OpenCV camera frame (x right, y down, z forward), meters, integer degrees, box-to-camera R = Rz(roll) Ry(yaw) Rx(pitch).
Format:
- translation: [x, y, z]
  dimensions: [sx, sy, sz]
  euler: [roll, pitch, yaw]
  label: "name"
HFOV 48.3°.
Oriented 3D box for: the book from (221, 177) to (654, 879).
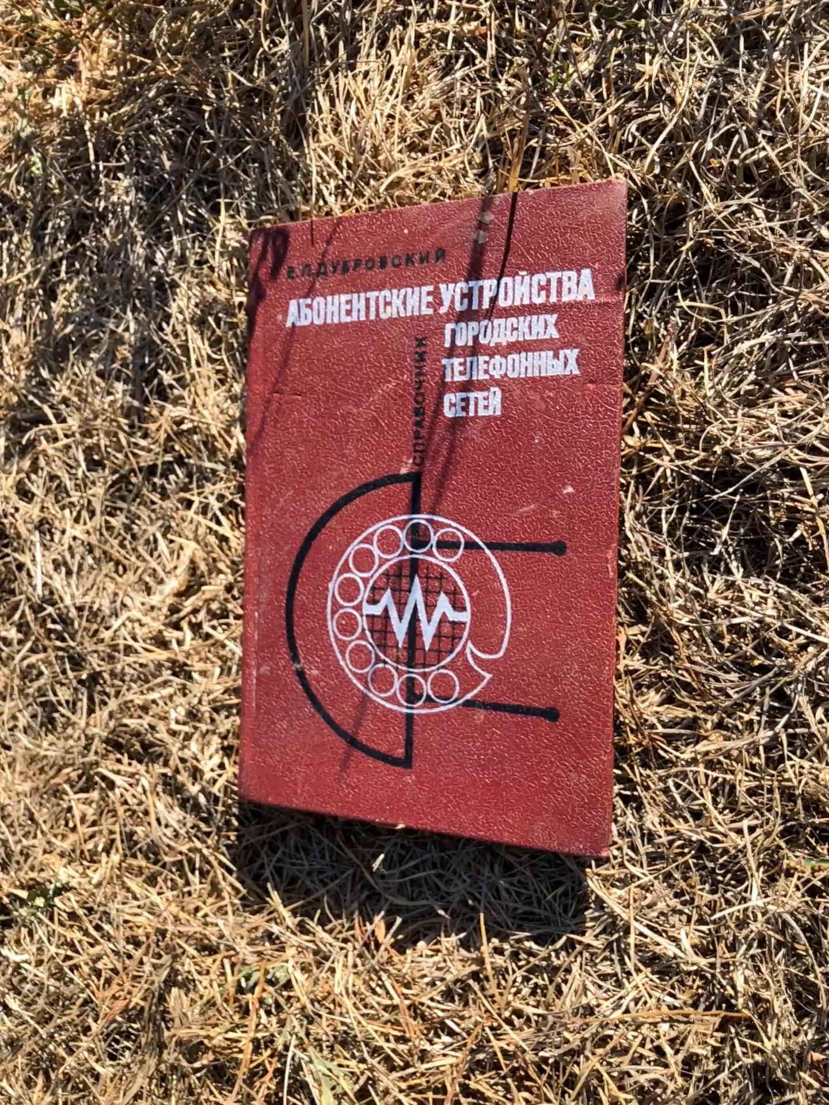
- translation: [0.005, -0.009, 0.319]
  dimensions: [0.142, 0.030, 0.211]
  euler: [2, 91, 22]
  label: "book"
